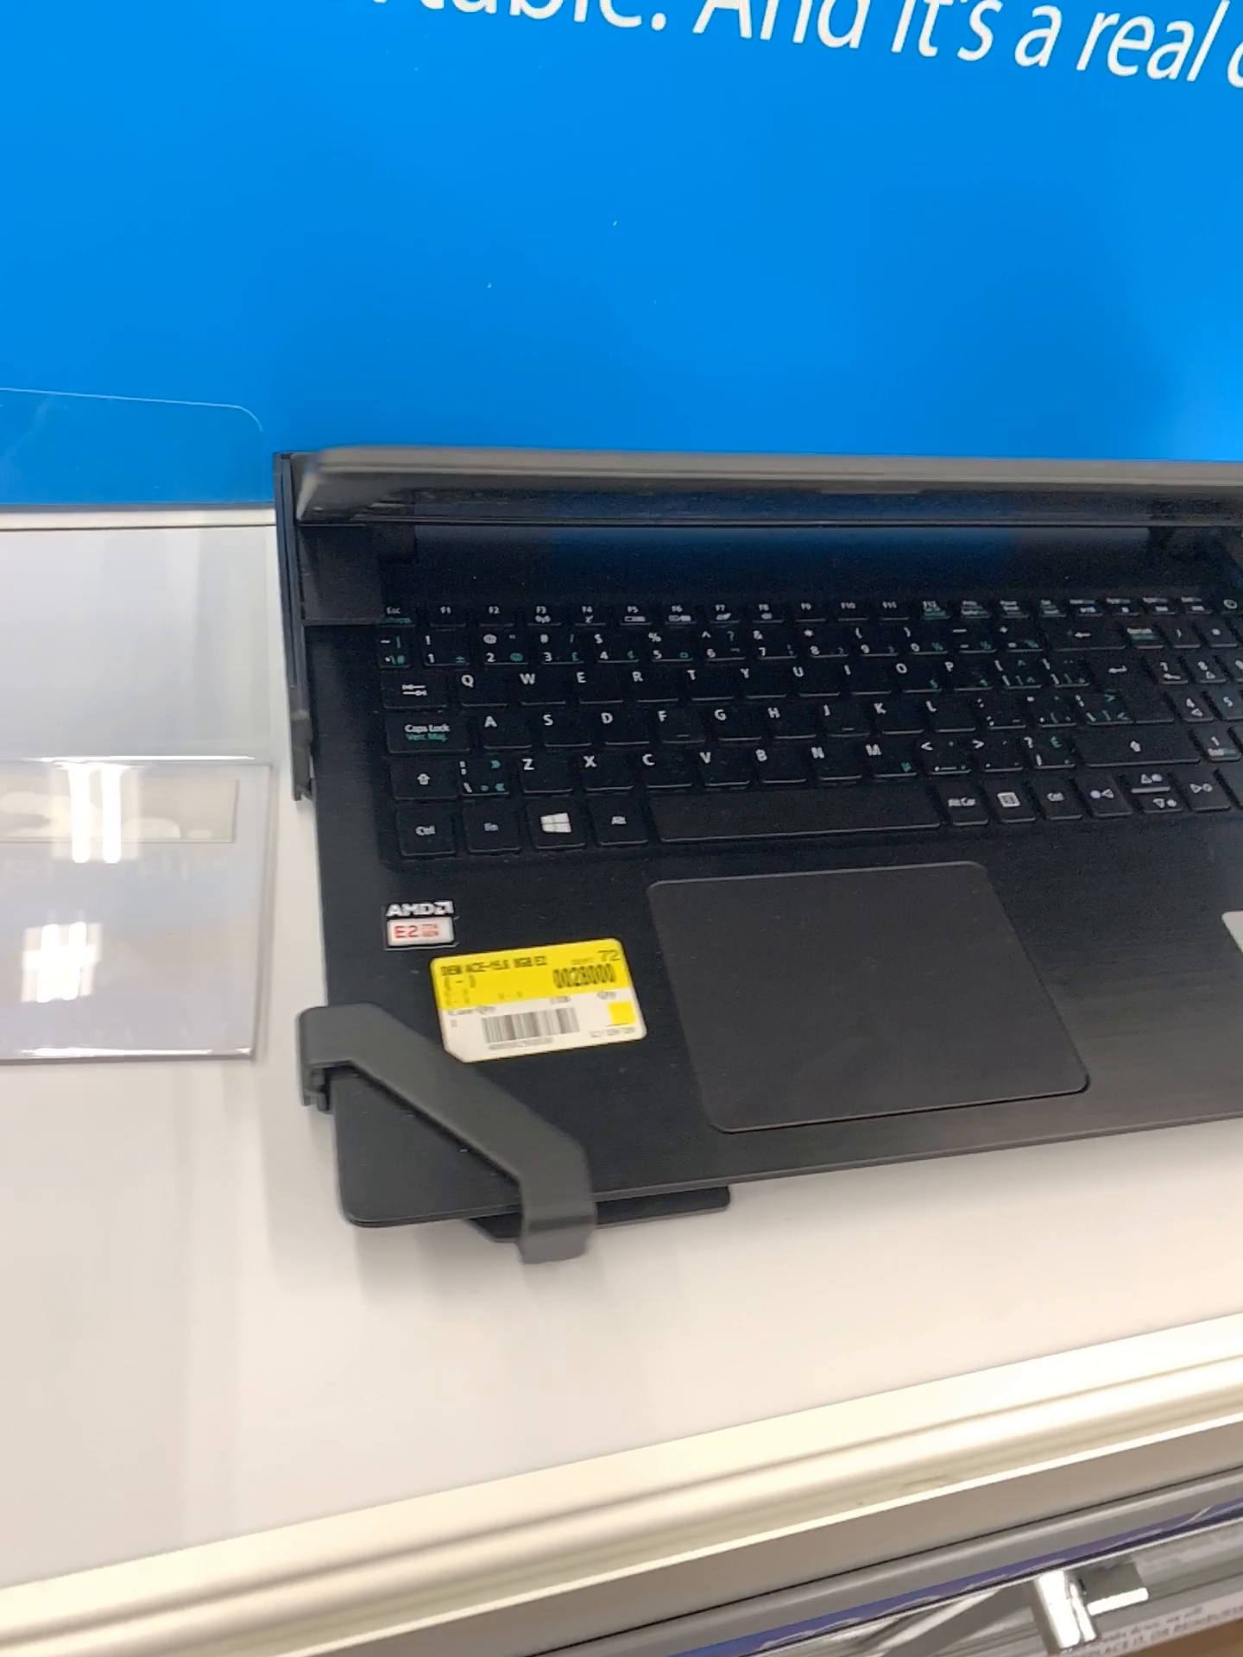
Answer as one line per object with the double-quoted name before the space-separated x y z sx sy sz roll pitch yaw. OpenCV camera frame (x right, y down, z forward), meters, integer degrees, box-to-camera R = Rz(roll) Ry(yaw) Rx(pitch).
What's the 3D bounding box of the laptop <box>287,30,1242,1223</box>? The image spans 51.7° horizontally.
"laptop" 0.107 -0.064 0.339 0.365 0.146 0.234 -3 52 -14
